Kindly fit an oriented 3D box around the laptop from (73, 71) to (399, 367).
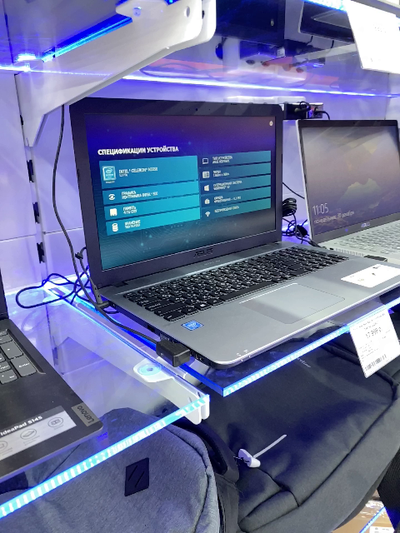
[{"bbox_3d":[0.080,-0.093,0.527,0.372,0.232,0.263,-15,21,-37],"label":"laptop"}]
